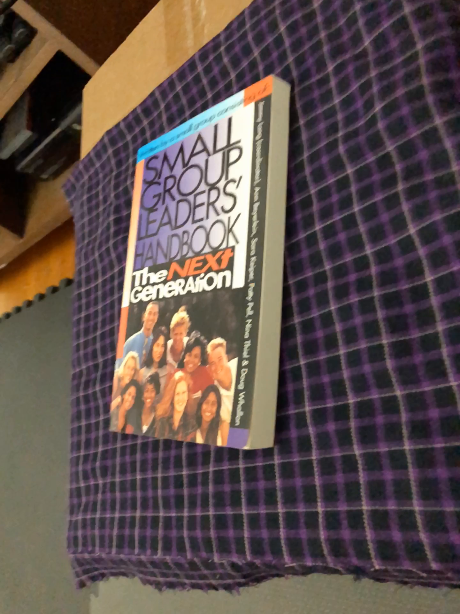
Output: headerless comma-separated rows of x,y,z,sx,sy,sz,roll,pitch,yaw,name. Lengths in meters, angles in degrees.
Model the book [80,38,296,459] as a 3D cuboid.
-0.031,-0.028,0.318,0.151,0.030,0.220,-9,73,46,book
